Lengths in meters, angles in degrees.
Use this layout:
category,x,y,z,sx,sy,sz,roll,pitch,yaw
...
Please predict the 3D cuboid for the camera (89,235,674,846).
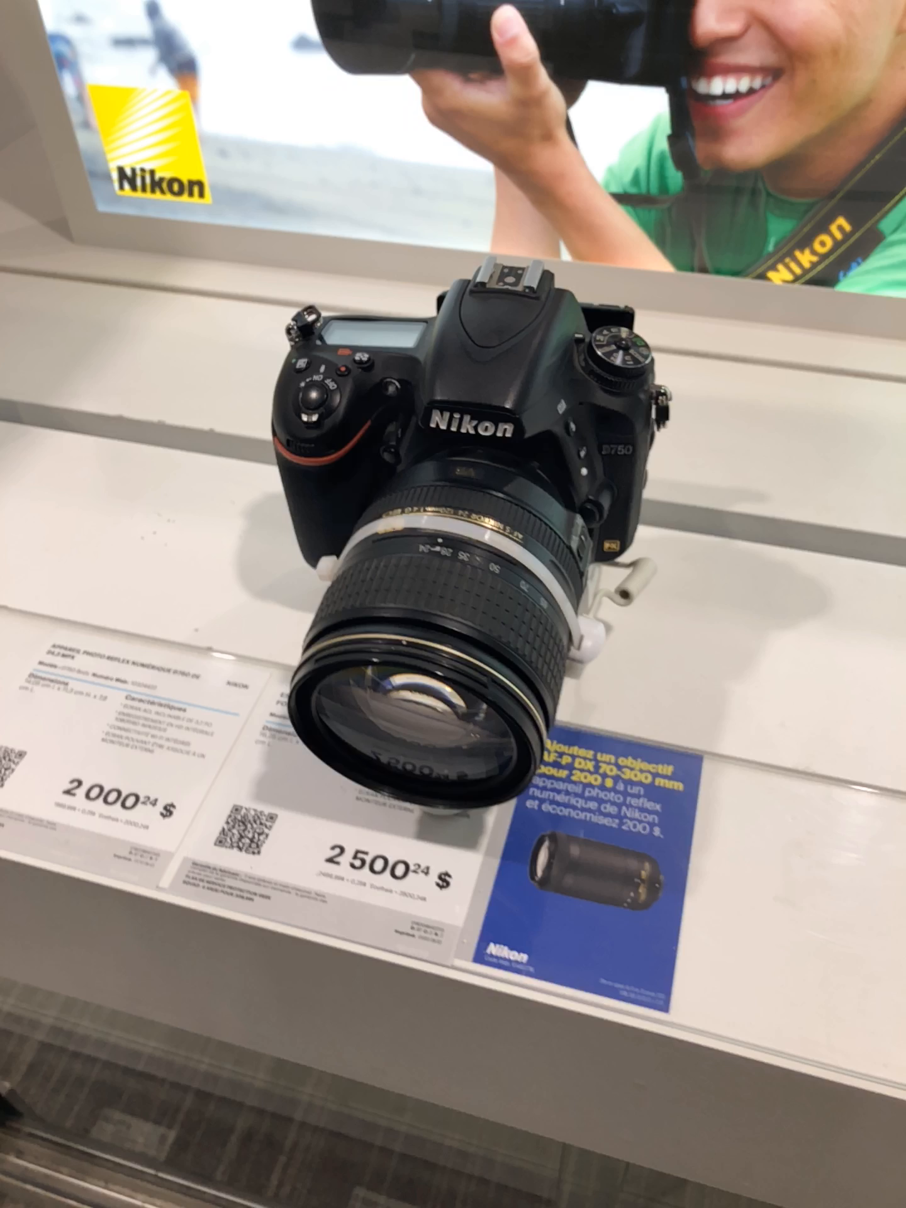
category,x,y,z,sx,sy,sz,roll,pitch,yaw
camera,-0.006,-0.034,0.350,0.138,0.099,0.184,8,46,10
